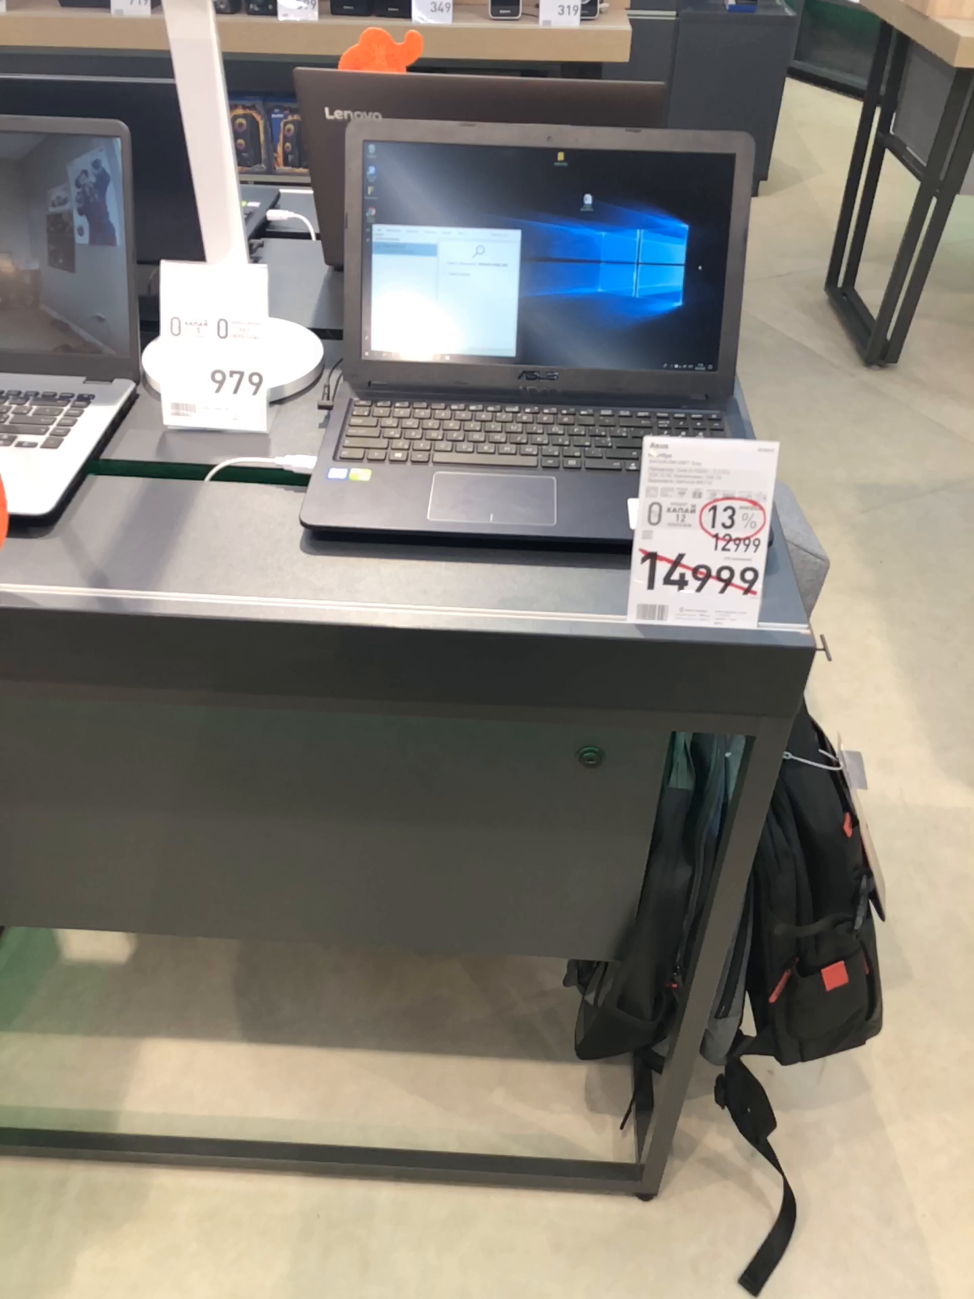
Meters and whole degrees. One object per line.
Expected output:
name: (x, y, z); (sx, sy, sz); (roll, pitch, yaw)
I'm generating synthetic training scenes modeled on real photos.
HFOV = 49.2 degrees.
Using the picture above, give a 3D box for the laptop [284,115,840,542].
laptop: (0.056, -0.298, 0.933); (0.380, 0.209, 0.372); (2, 40, 2)
